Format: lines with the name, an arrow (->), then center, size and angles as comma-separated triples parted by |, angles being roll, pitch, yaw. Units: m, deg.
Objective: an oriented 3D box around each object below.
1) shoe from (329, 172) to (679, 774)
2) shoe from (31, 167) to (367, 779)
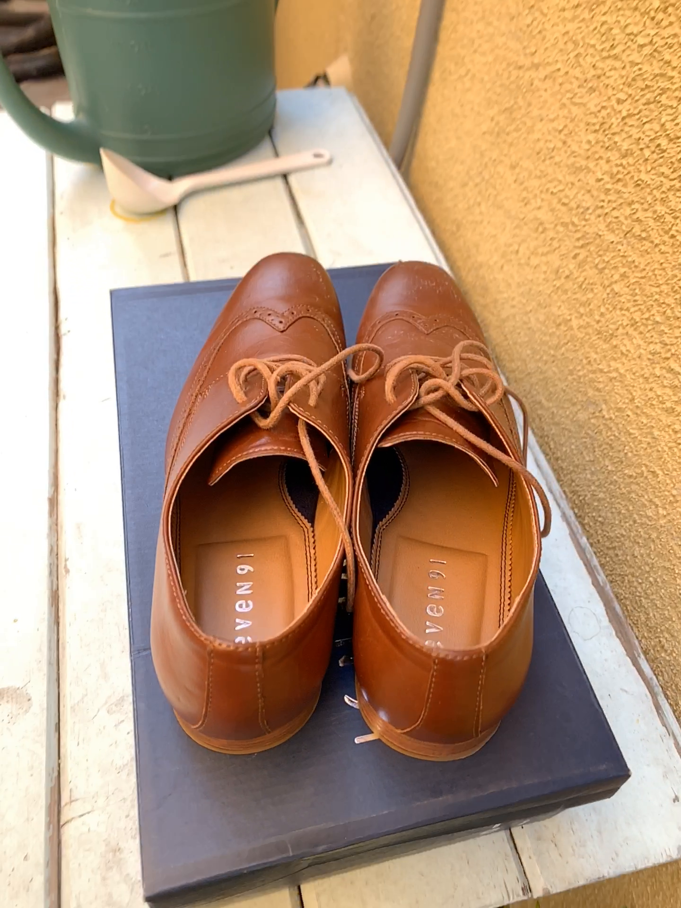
shoe -> 0.058, -0.012, 0.362 | 0.110, 0.099, 0.303 | 4, 52, -2
shoe -> -0.044, -0.013, 0.355 | 0.104, 0.099, 0.303 | 4, 52, -2
